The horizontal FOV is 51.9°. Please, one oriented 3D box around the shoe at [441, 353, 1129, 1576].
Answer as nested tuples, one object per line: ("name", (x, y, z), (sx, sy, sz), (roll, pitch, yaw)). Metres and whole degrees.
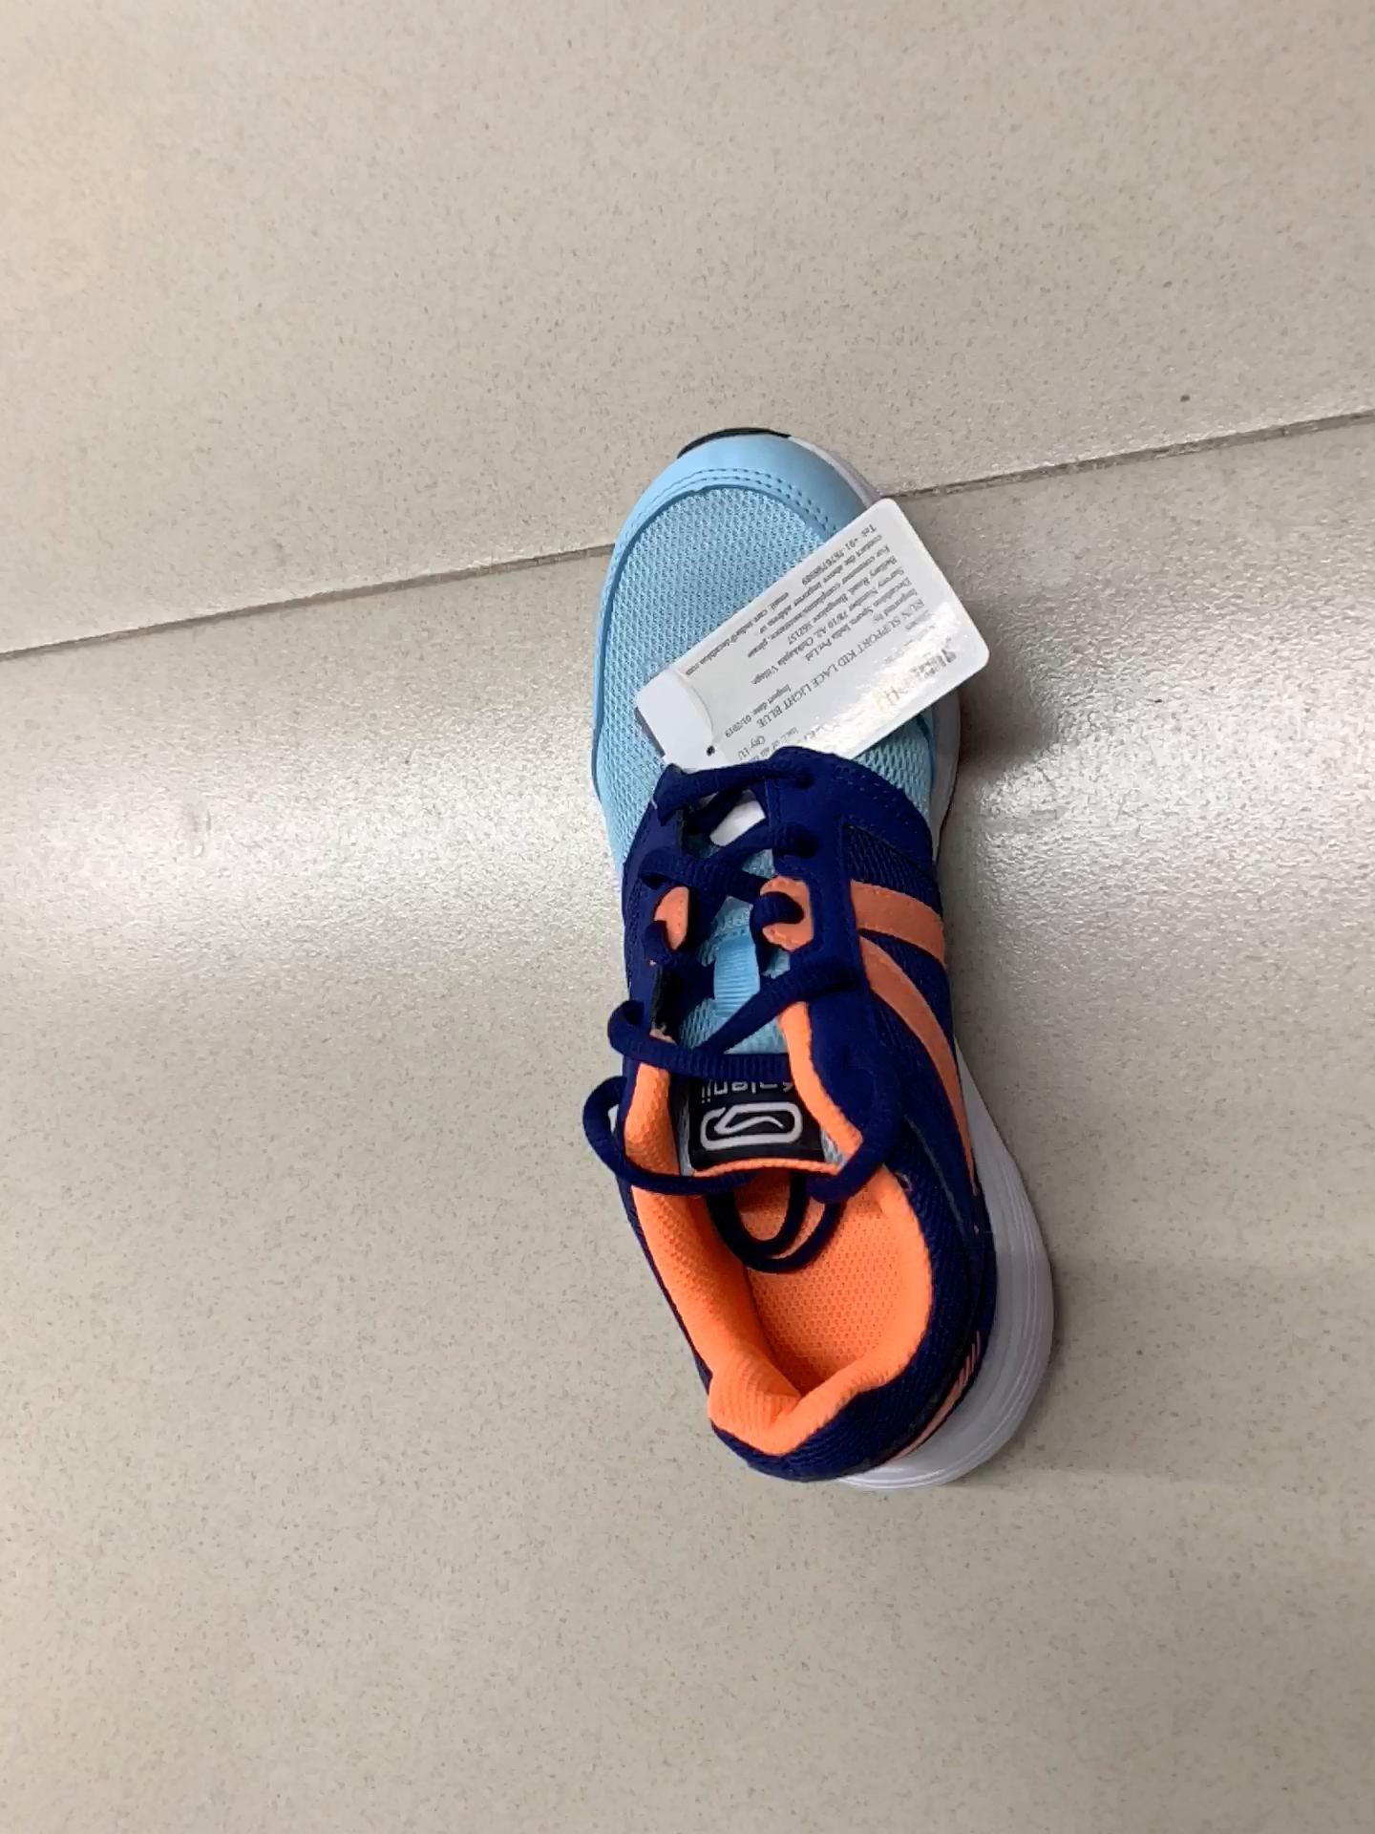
("shoe", (0.024, 0.014, 0.331), (0.100, 0.080, 0.240), (-12, 83, 23))
